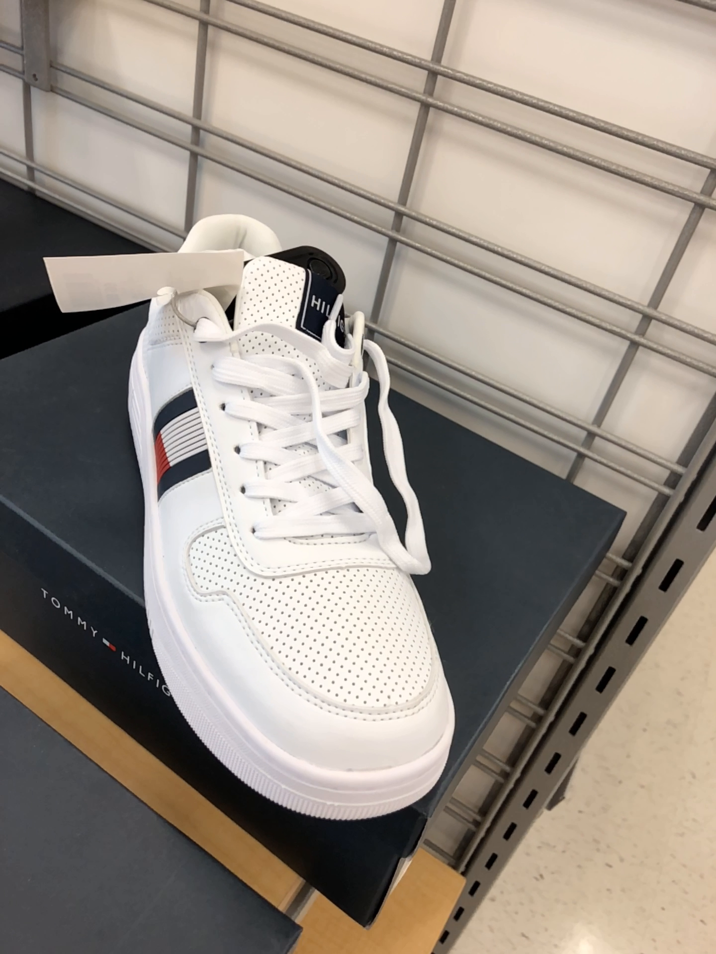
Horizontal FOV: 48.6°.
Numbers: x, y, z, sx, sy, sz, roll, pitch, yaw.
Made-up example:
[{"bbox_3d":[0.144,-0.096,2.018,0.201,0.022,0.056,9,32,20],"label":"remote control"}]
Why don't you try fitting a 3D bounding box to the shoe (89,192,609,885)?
[{"bbox_3d":[-0.039,-0.008,0.334,0.110,0.109,0.282,-4,41,-24],"label":"shoe"}]
